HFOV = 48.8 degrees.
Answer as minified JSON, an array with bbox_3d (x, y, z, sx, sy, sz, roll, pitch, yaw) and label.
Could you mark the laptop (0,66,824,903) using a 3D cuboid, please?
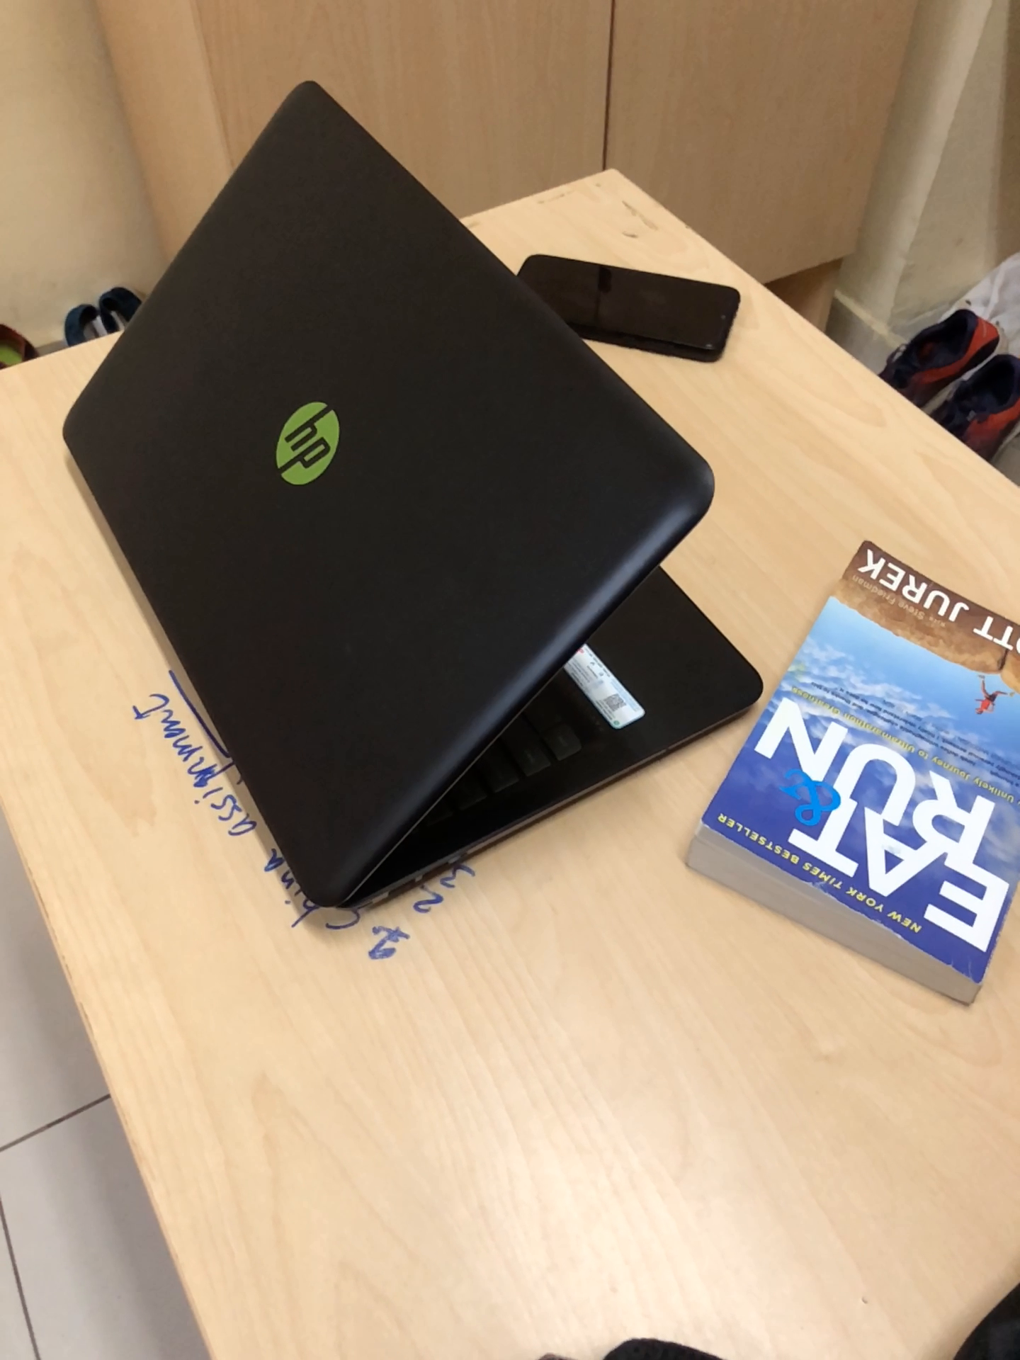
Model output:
[{"bbox_3d":[-0.064,-0.123,0.571,0.231,0.167,0.360,-26,57,-19],"label":"laptop"}]
